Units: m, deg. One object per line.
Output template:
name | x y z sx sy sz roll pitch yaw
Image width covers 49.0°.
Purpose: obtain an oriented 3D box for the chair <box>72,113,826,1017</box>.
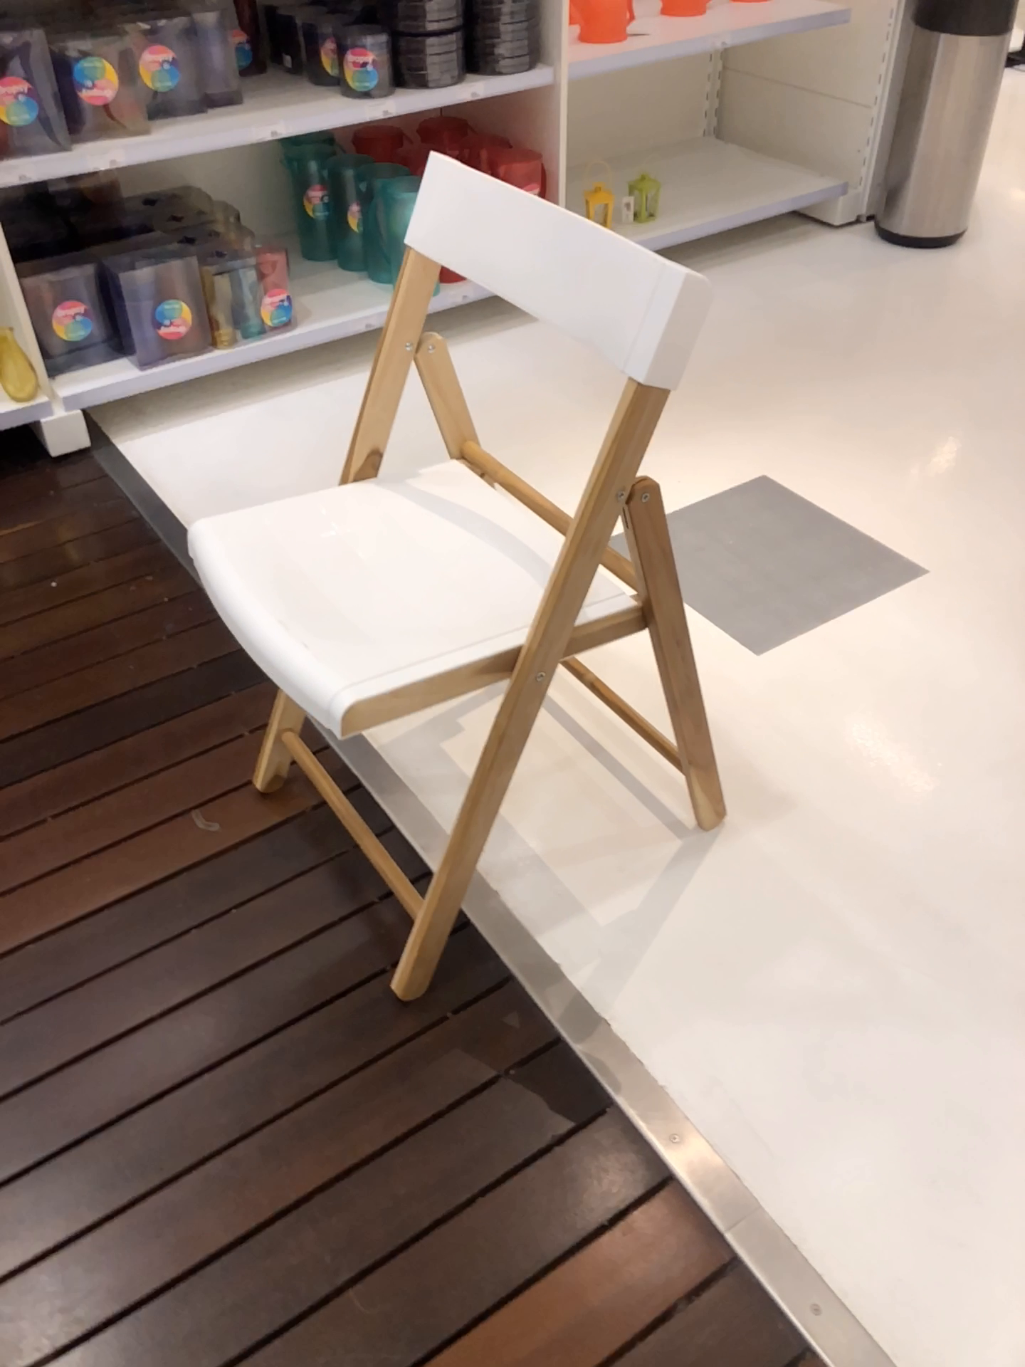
chair | -0.054 -0.134 1.250 0.511 0.734 0.473 -25 45 -22
